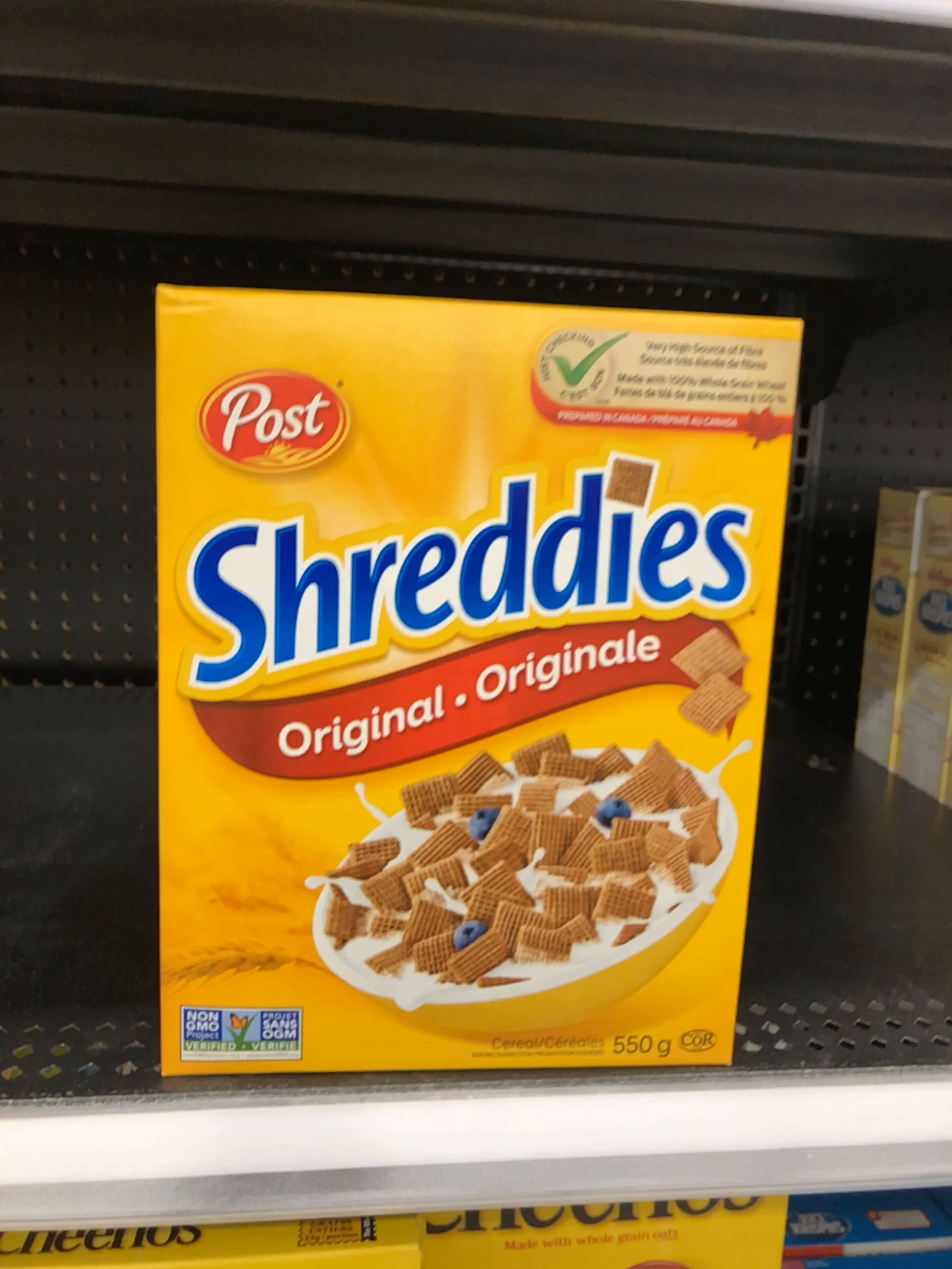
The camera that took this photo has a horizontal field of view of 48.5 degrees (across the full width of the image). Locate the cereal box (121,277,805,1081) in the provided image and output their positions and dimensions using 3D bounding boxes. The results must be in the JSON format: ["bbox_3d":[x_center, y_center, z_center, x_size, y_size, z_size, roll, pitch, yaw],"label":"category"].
[{"bbox_3d":[-0.010,0.018,0.380,0.210,0.259,0.070,1,10,-7],"label":"cereal box"}]
